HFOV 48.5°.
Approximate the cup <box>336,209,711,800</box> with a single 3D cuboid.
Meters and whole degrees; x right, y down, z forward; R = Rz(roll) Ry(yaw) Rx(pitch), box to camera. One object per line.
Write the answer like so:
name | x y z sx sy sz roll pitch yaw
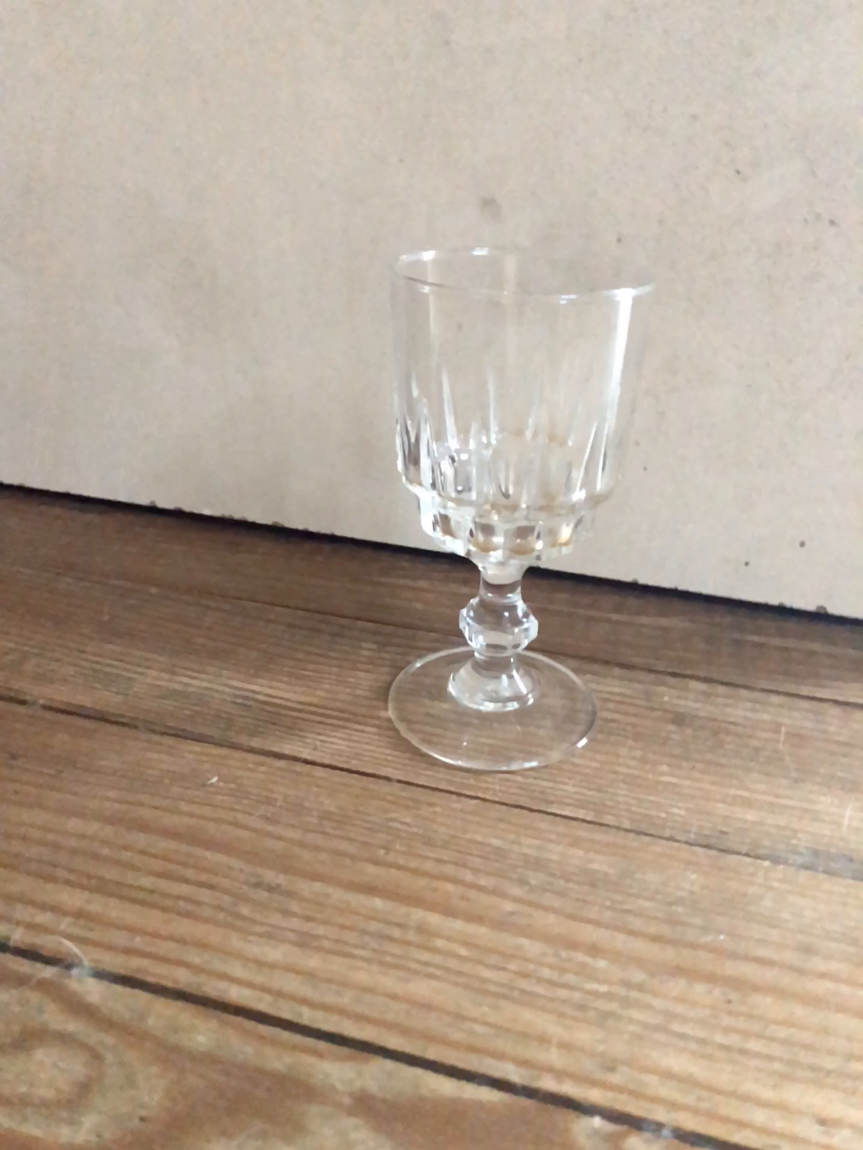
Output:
cup | 0.021 -0.020 0.236 0.070 0.119 0.070 2 27 -1
